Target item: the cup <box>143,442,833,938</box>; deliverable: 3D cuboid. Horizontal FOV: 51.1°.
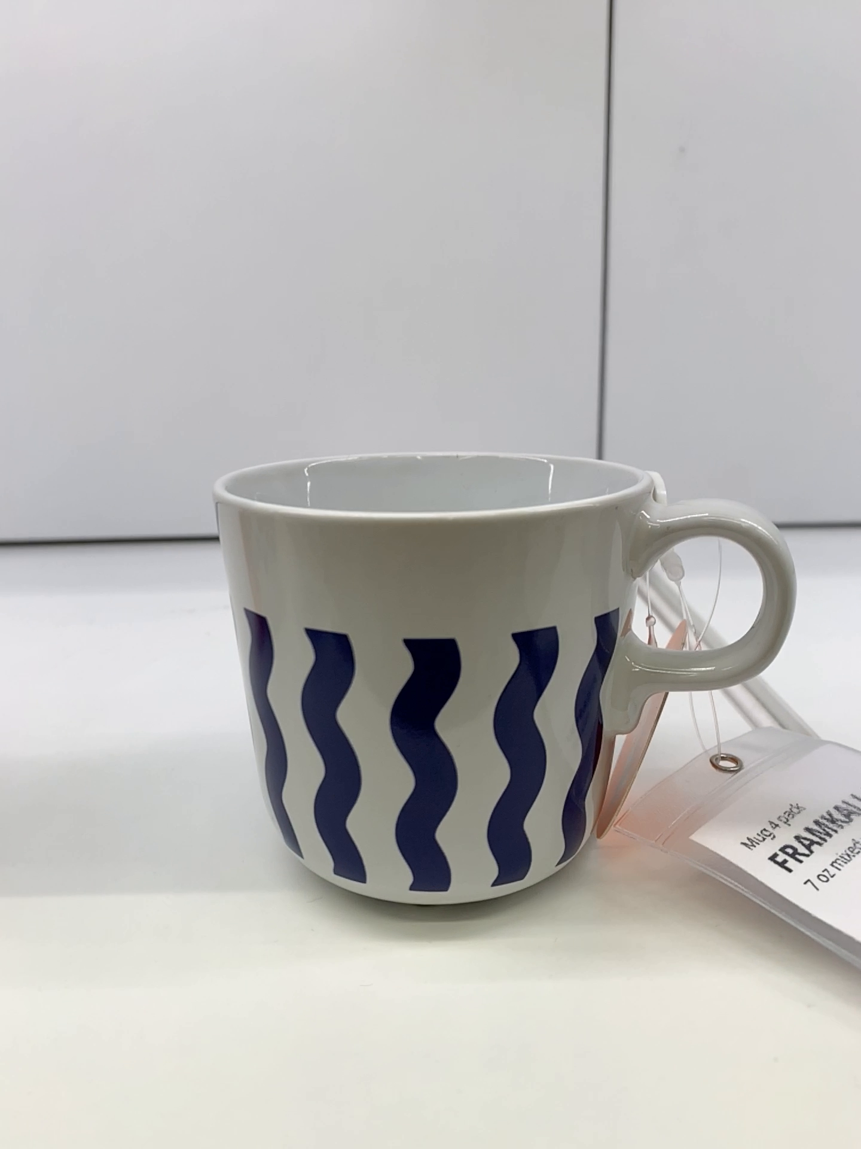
[{"bbox_3d":[0.009,0.015,0.178,0.101,0.071,0.076,-2,13,0],"label":"cup"}]
